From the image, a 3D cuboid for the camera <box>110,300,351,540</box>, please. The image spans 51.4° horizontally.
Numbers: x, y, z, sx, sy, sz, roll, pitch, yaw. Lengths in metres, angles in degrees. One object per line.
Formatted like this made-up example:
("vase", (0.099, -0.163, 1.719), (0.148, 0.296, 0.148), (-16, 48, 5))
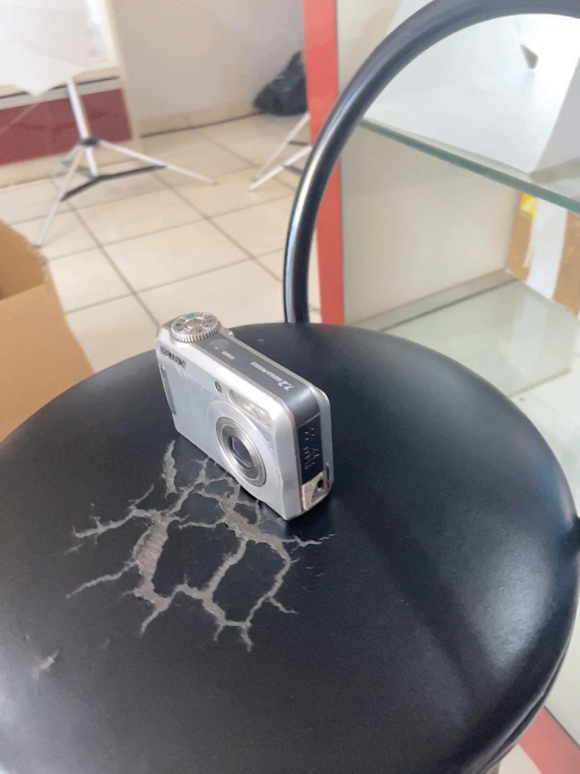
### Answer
("camera", (-0.026, 0.009, 0.252), (0.040, 0.050, 0.100), (-33, 45, -31))
